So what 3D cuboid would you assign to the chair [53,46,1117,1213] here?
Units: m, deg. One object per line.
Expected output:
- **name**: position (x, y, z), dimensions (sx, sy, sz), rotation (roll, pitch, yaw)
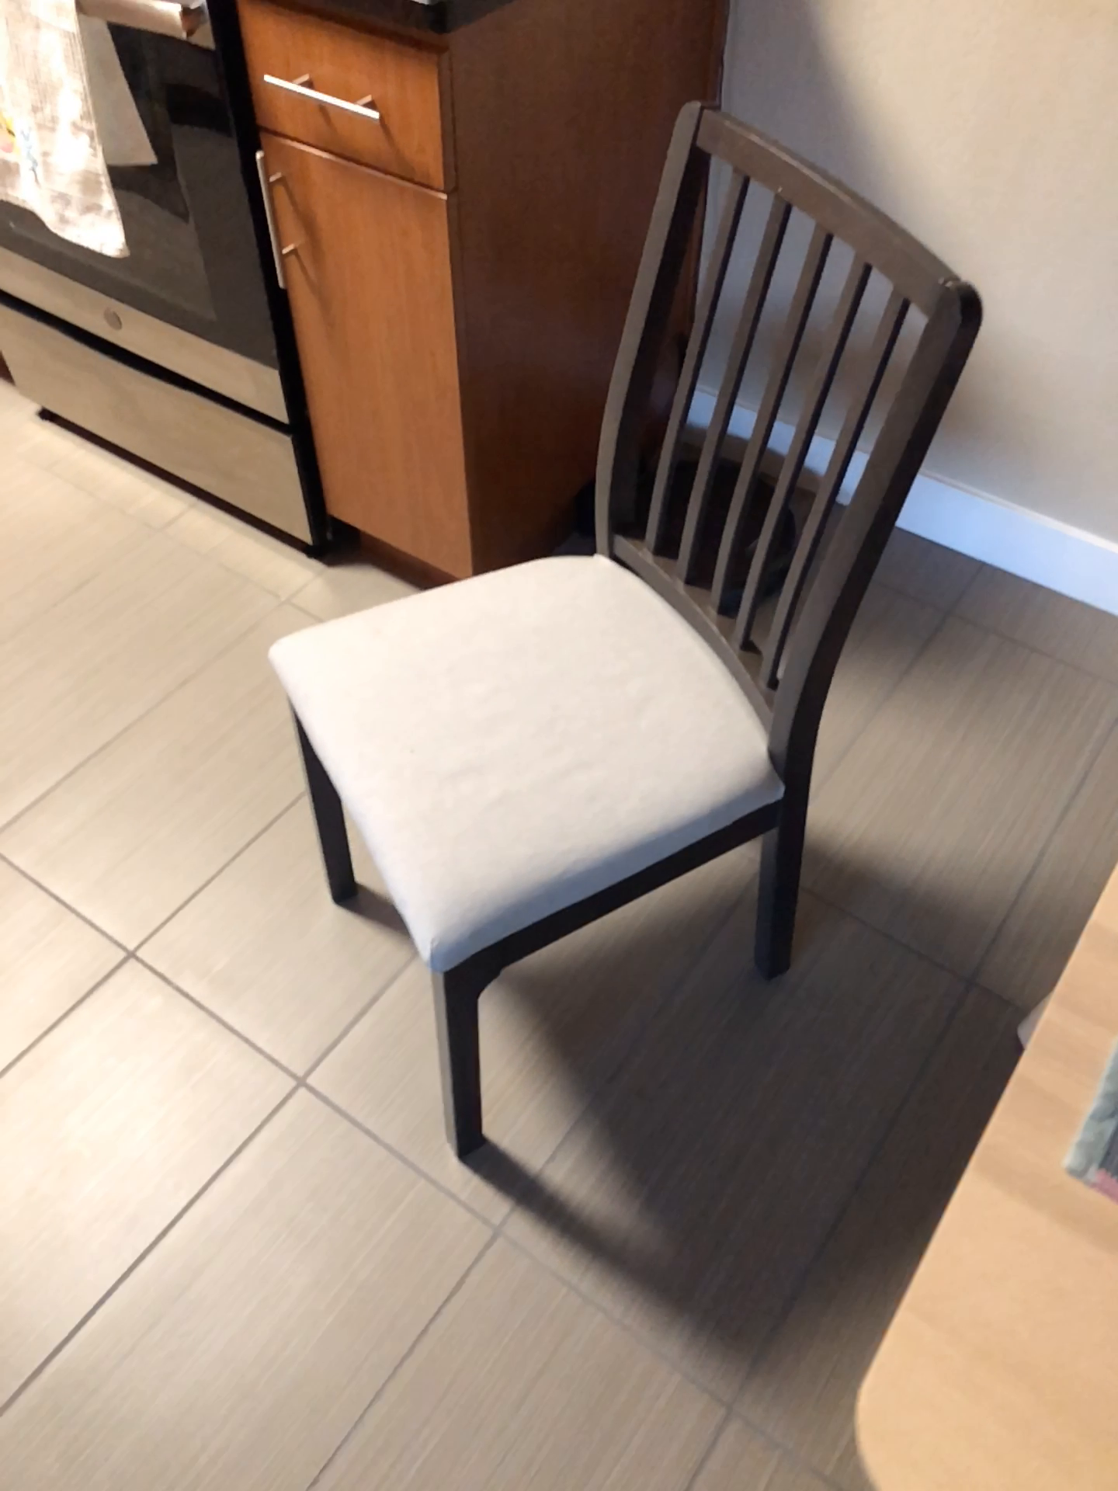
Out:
- **chair**: position (-0.012, -0.089, 1.230), dimensions (0.591, 0.846, 0.582), rotation (-21, 52, -18)
